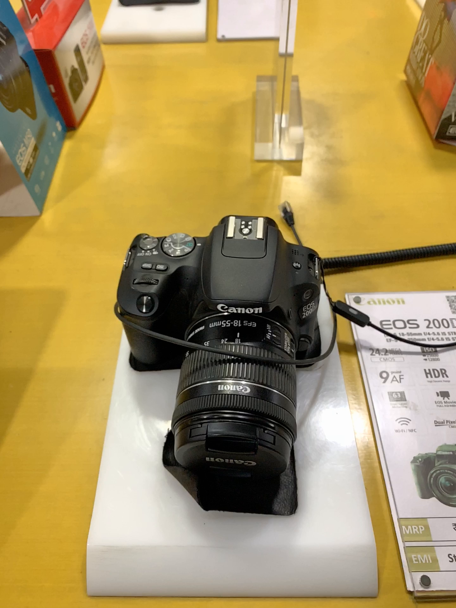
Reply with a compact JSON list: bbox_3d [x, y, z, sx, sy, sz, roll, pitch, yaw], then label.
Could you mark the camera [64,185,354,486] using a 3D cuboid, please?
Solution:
[{"bbox_3d":[-0.004,0.010,0.273,0.120,0.070,0.160,1,50,3],"label":"camera"}]
